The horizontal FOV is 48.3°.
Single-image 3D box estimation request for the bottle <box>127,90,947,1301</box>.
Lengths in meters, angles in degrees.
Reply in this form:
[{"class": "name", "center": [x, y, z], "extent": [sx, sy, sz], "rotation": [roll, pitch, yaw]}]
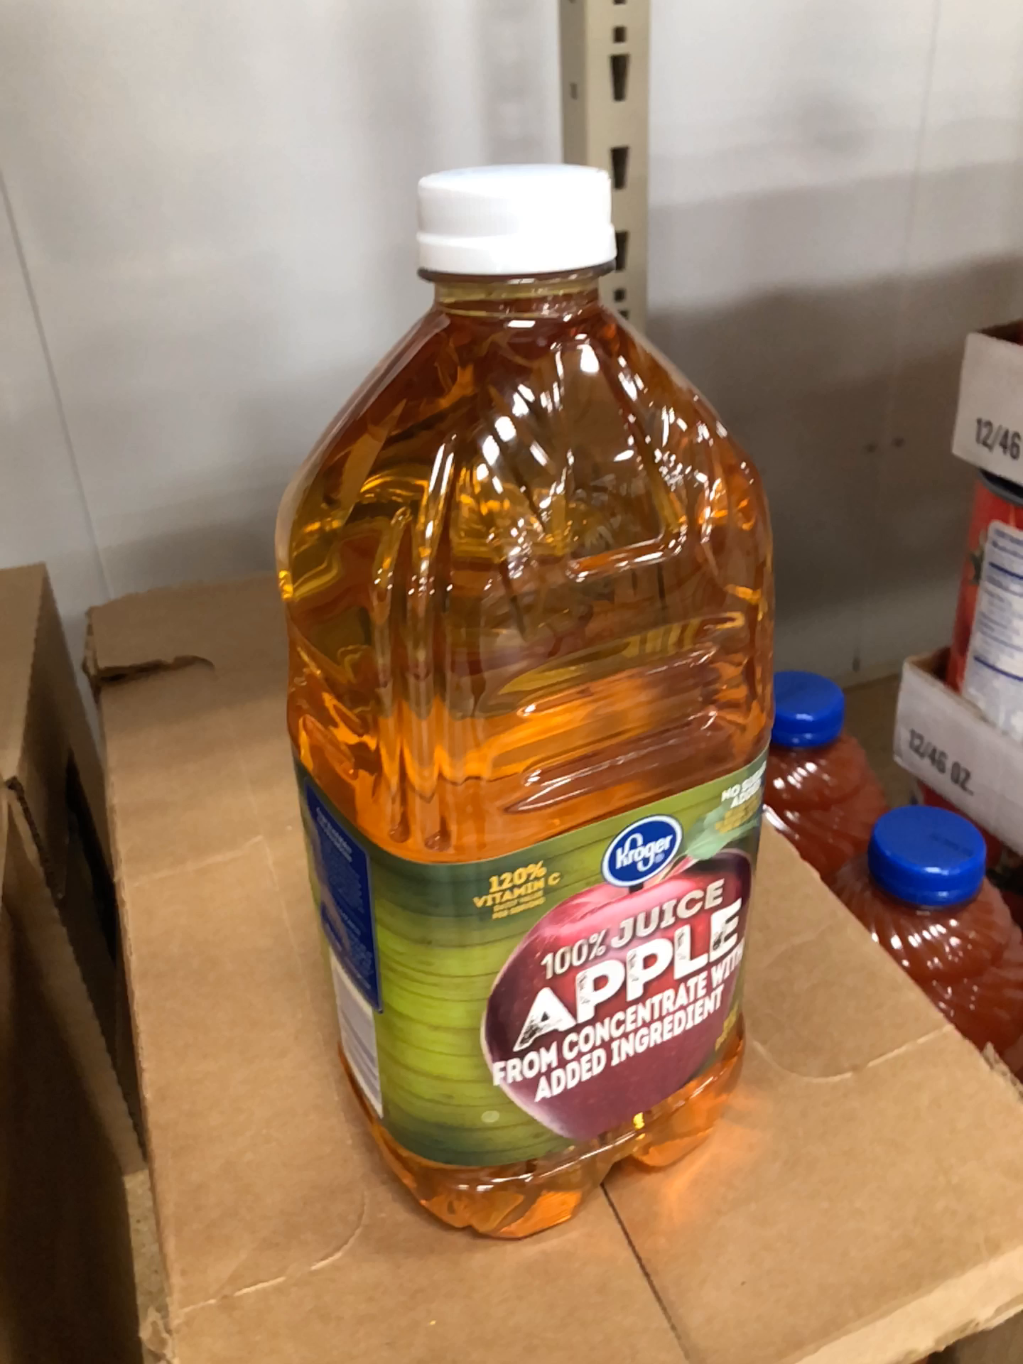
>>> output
[{"class": "bottle", "center": [0.005, 0.007, 0.282], "extent": [0.120, 0.259, 0.100], "rotation": [-18, 35, -22]}]
